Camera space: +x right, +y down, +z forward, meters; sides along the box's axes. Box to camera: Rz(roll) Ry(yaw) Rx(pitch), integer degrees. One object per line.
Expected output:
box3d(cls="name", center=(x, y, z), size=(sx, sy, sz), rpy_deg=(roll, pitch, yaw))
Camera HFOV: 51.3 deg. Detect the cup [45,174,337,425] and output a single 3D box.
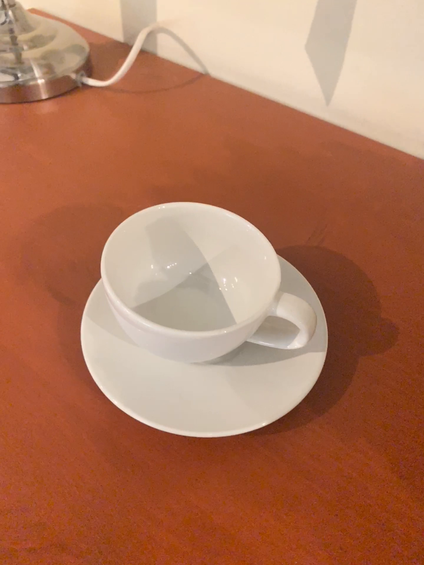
box3d(cls="cup", center=(-0.007, 0.003, 0.222), size=(0.110, 0.050, 0.080), rpy_deg=(22, 51, 14))
